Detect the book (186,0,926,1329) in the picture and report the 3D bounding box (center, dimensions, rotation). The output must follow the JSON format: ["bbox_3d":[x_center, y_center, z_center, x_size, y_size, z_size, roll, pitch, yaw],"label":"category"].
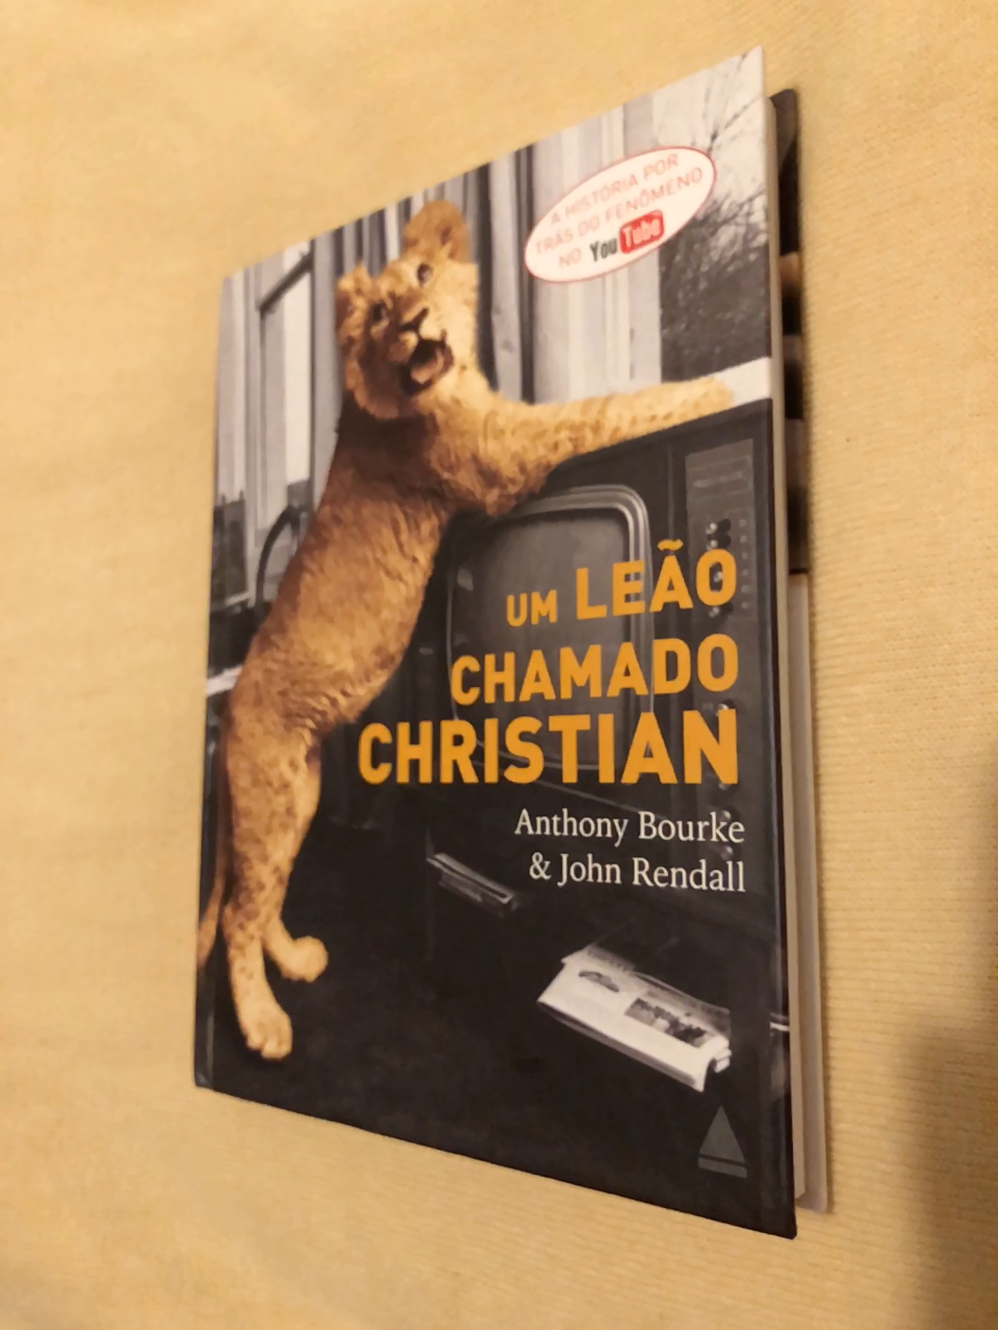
[{"bbox_3d":[0.002,-0.002,0.225,0.151,0.030,0.200,-5,78,40],"label":"book"}]
